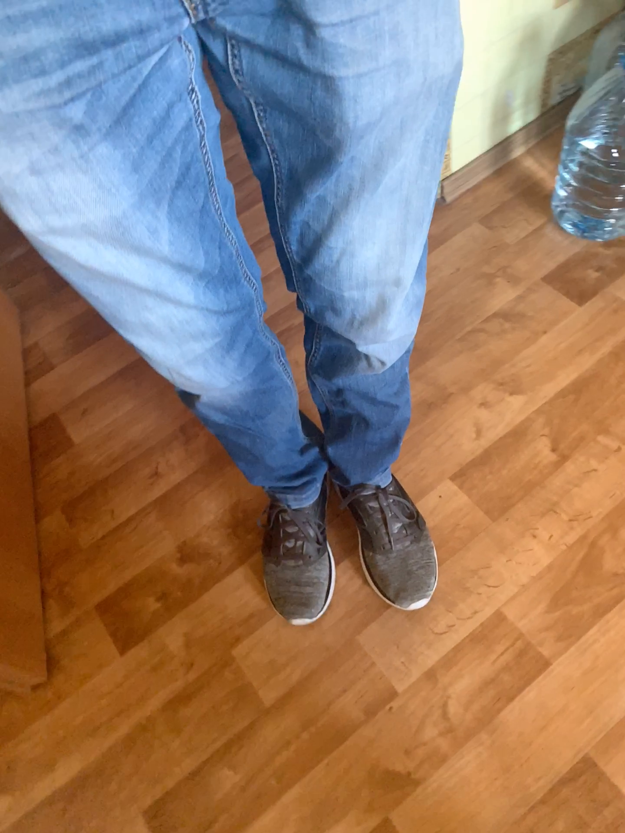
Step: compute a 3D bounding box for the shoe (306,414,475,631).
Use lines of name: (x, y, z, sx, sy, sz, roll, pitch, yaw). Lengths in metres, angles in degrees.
shoe: (0.114, 0.158, 0.995, 0.134, 0.100, 0.291, -24, 57, -6)

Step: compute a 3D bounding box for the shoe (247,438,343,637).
shoe: (-0.027, 0.185, 1.001, 0.124, 0.100, 0.281, -6, 57, 6)
